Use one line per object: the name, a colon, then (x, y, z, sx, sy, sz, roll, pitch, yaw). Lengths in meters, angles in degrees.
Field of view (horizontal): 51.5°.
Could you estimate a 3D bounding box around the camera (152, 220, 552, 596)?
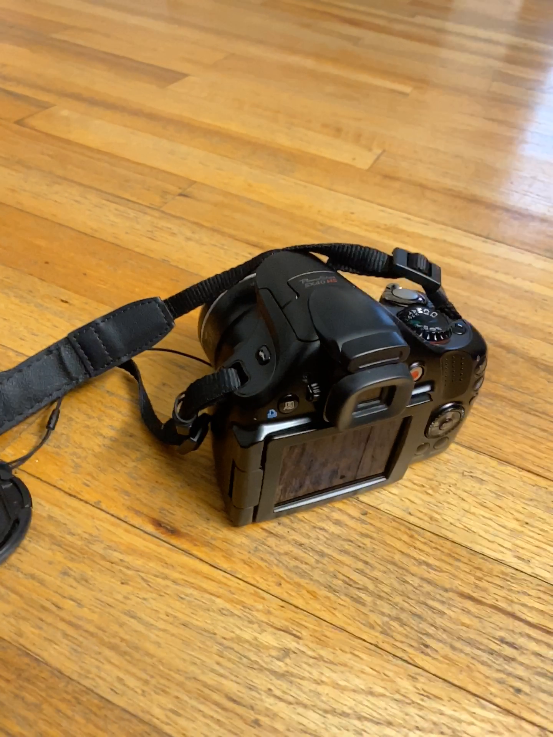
camera: (0.018, 0.008, 0.258, 0.120, 0.089, 0.121, -10, 46, -20)
